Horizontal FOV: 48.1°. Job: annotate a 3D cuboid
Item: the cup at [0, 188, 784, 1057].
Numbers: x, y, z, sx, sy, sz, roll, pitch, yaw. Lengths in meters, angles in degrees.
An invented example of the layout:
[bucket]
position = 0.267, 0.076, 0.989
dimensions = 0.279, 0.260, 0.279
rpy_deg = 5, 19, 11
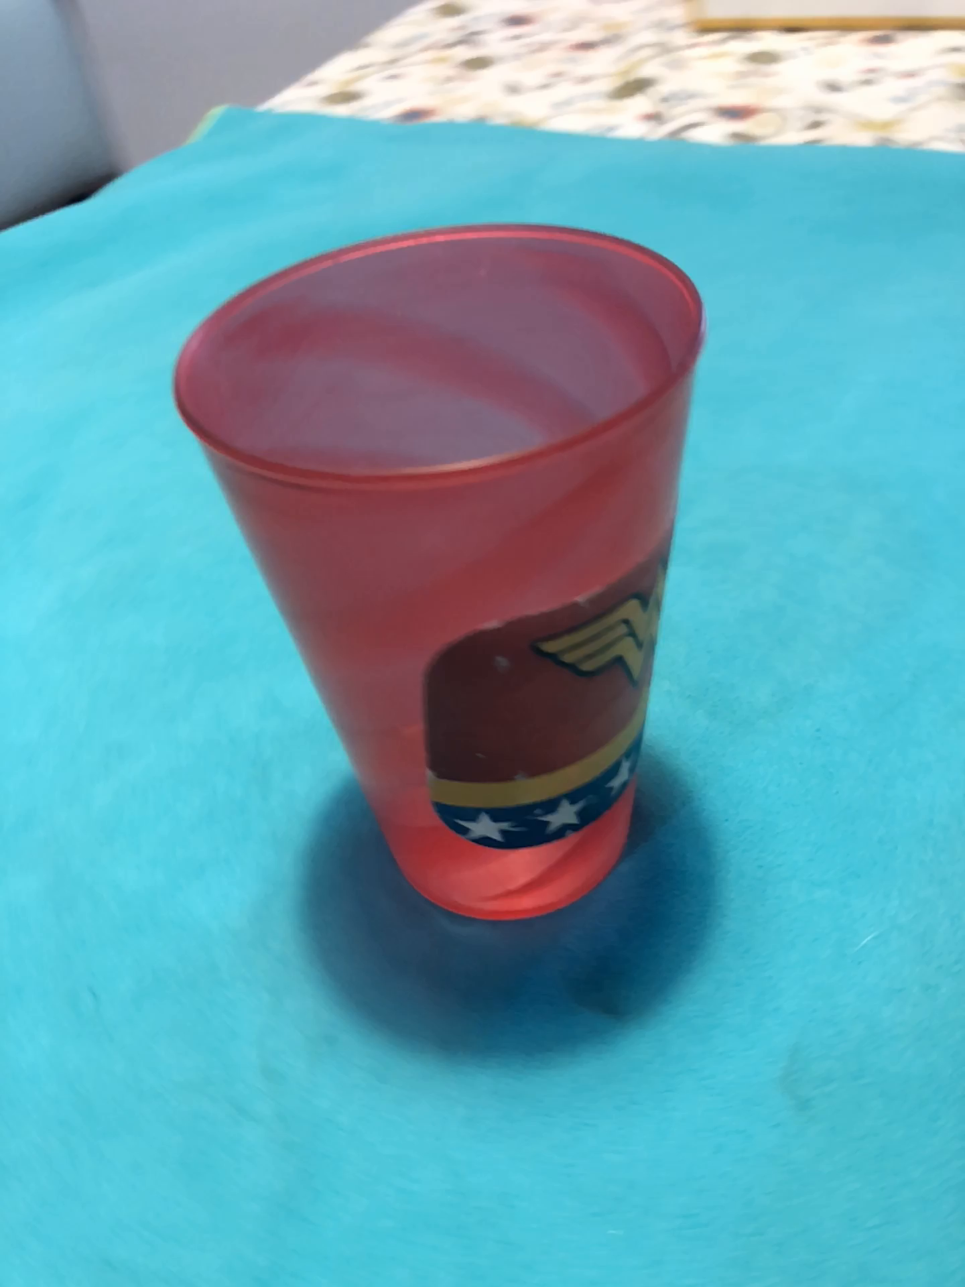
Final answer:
[cup]
position = -0.007, -0.008, 0.198
dimensions = 0.090, 0.109, 0.090
rpy_deg = -5, 42, 4
